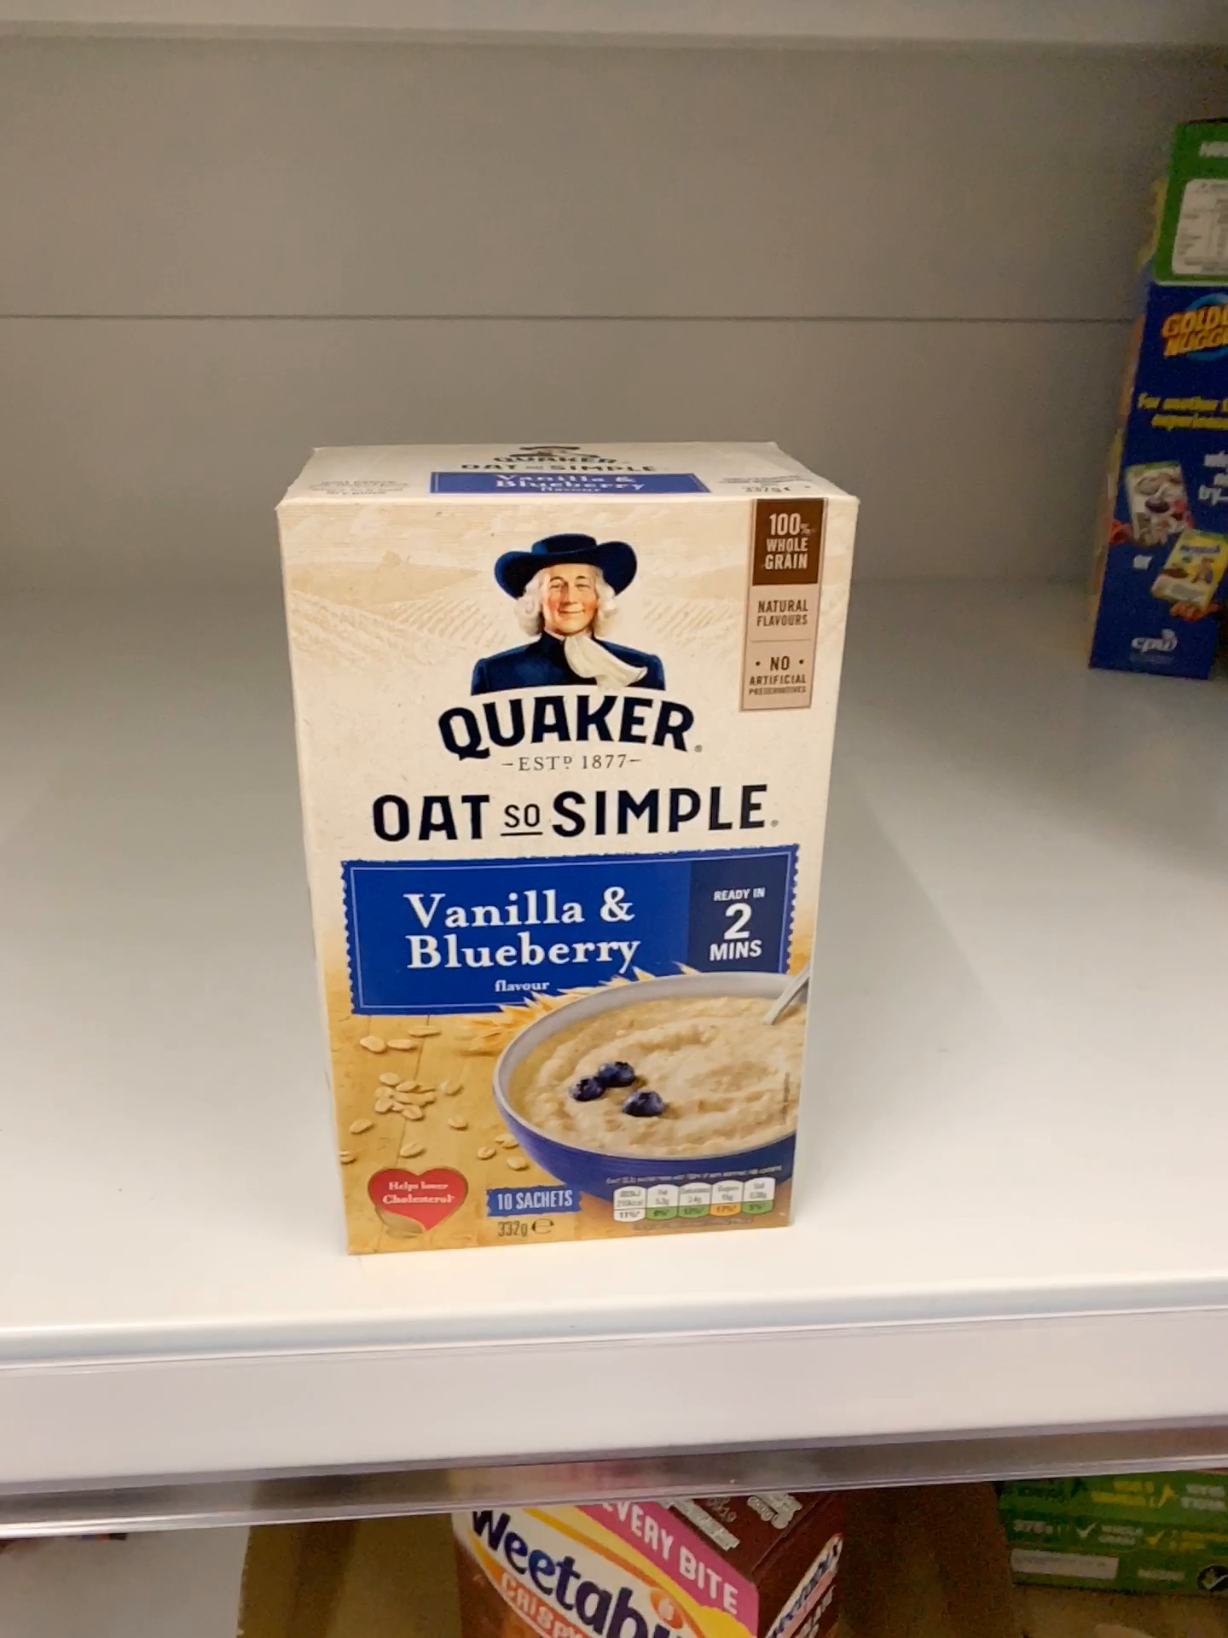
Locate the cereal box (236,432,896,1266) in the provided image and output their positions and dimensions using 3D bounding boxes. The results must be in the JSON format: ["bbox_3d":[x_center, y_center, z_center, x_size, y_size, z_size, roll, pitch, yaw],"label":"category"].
[{"bbox_3d":[-0.014,0.008,0.348,0.140,0.208,0.081,-2,25,-6],"label":"cereal box"}]
